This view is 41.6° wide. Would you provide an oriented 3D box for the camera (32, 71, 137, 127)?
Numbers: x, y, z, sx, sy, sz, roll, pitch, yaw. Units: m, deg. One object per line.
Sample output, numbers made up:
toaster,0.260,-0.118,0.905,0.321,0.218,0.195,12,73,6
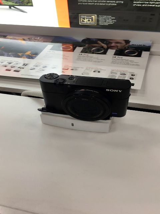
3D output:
camera,0.008,-0.011,0.277,0.119,0.056,0.036,7,47,10
